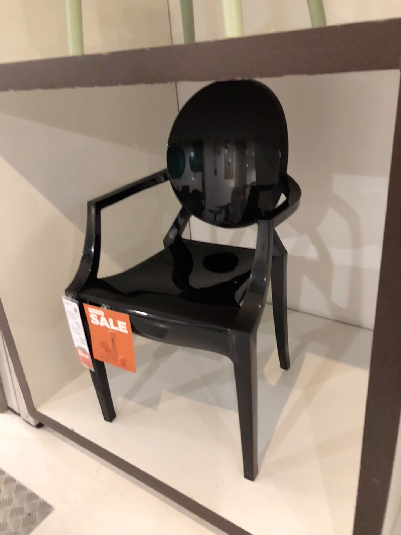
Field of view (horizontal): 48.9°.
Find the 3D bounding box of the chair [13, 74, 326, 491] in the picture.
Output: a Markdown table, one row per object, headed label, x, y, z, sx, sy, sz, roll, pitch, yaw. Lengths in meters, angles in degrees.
| label | x | y | z | sx | sy | sz | roll | pitch | yaw |
| --- | --- | --- | --- | --- | --- | --- | --- | --- | --- |
| chair | -0.006 | -0.005 | 1.159 | 0.511 | 0.854 | 0.493 | 9 | 30 | 29 |
